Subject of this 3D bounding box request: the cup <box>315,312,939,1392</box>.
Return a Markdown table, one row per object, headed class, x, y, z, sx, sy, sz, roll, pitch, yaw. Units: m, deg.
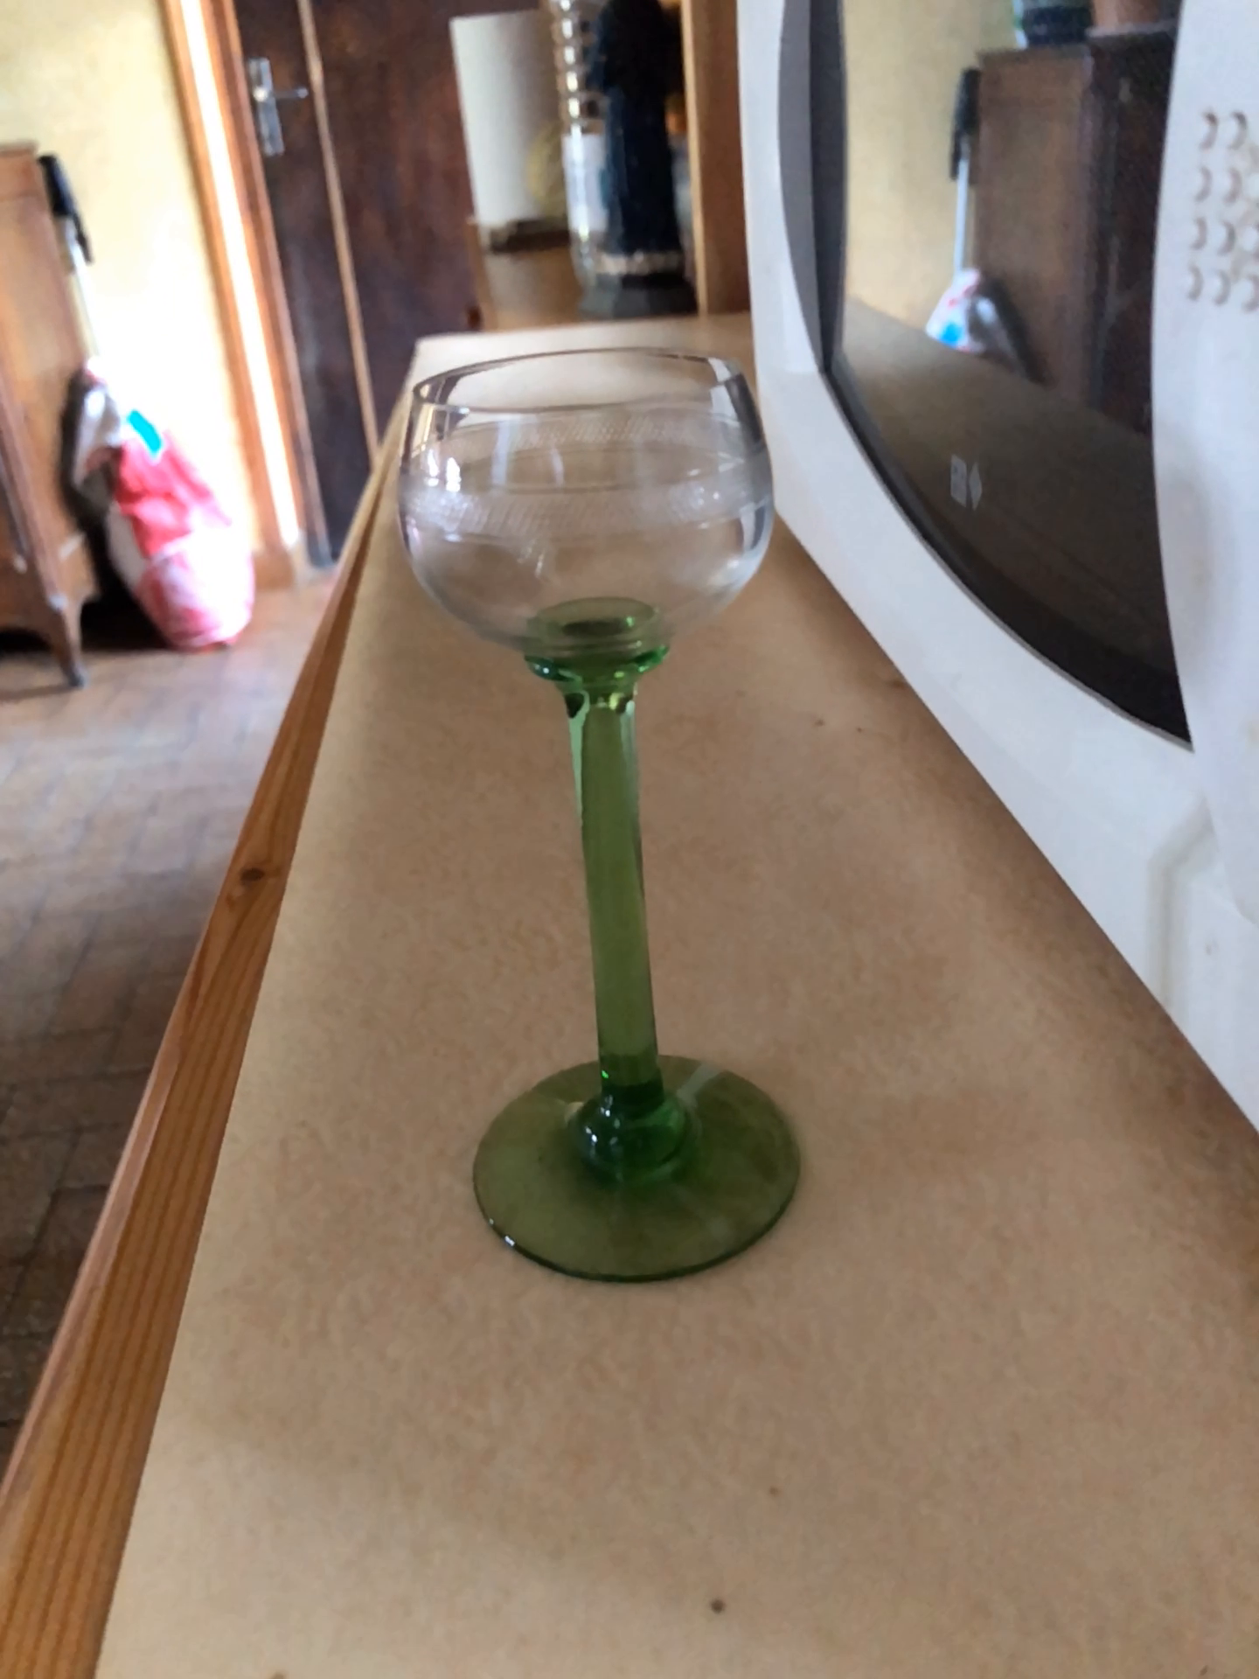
| class | x | y | z | sx | sy | sz | roll | pitch | yaw |
| --- | --- | --- | --- | --- | --- | --- | --- | --- | --- |
| cup | 0.001 | 0.001 | 0.198 | 0.060 | 0.129 | 0.060 | -4 | 28 | 2 |
